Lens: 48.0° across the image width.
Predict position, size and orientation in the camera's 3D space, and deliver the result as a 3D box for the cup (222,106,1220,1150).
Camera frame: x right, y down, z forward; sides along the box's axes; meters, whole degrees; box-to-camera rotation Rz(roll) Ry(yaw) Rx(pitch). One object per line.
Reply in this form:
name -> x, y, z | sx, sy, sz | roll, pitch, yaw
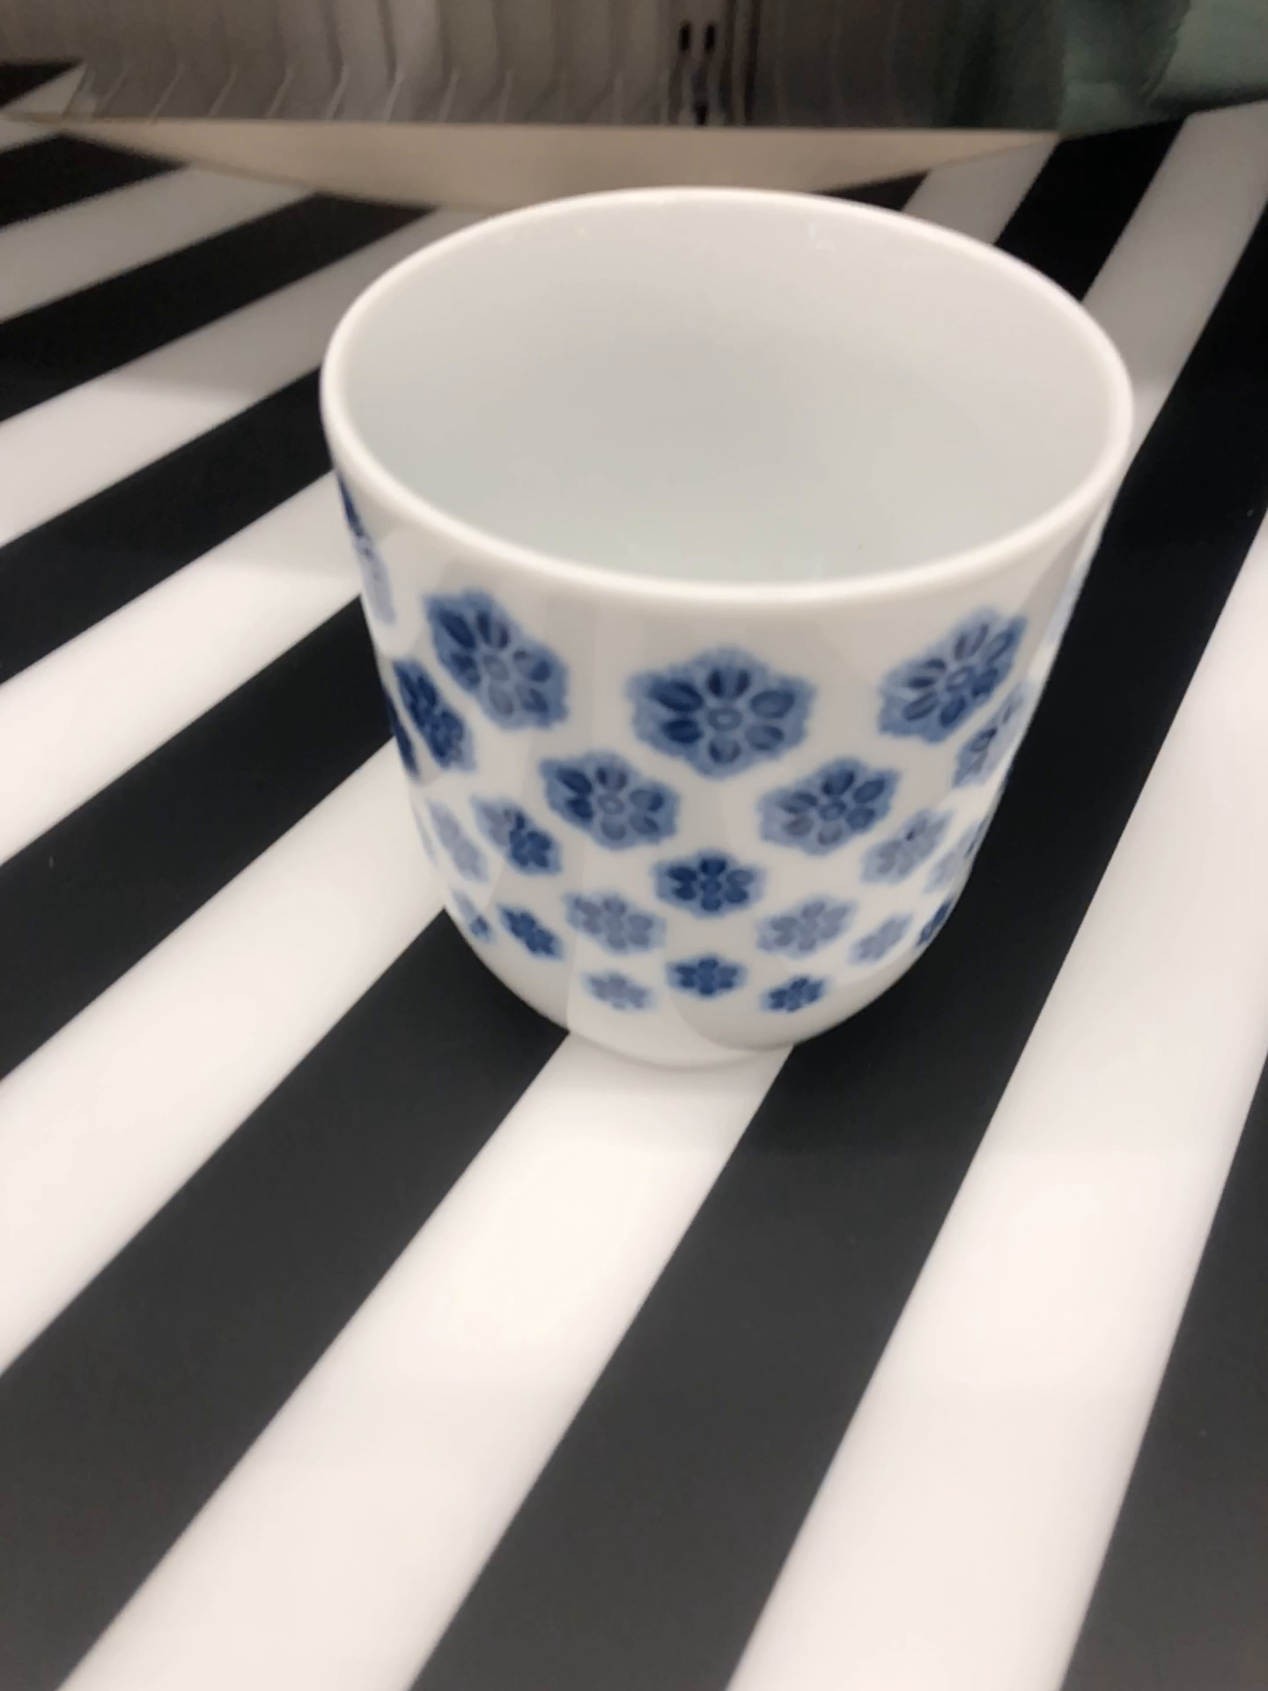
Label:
cup -> 0.006, -0.023, 0.156 | 0.070, 0.080, 0.080 | 1, 47, 0
